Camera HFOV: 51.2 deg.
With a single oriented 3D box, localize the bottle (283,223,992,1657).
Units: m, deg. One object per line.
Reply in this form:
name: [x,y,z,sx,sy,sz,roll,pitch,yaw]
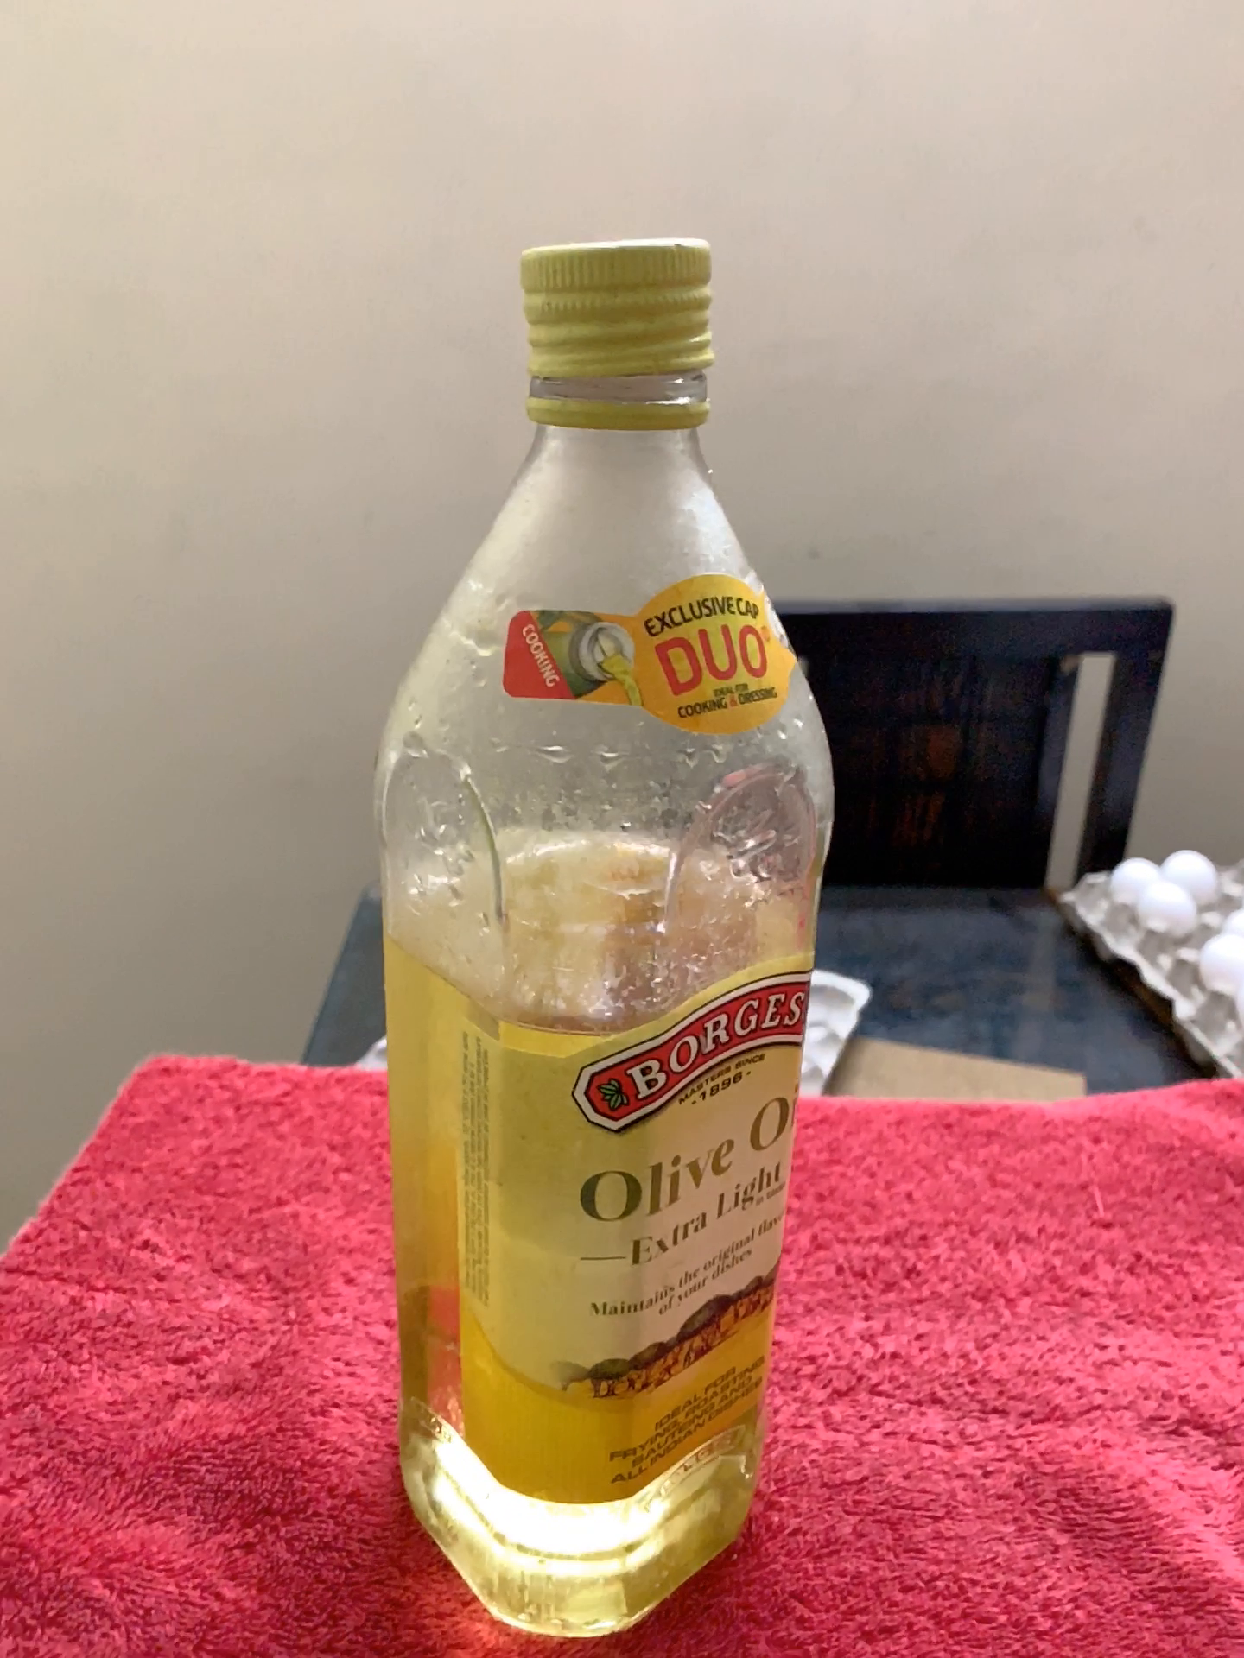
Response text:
bottle: [-0.001,0.033,0.249,0.080,0.268,0.070,-17,30,-35]
